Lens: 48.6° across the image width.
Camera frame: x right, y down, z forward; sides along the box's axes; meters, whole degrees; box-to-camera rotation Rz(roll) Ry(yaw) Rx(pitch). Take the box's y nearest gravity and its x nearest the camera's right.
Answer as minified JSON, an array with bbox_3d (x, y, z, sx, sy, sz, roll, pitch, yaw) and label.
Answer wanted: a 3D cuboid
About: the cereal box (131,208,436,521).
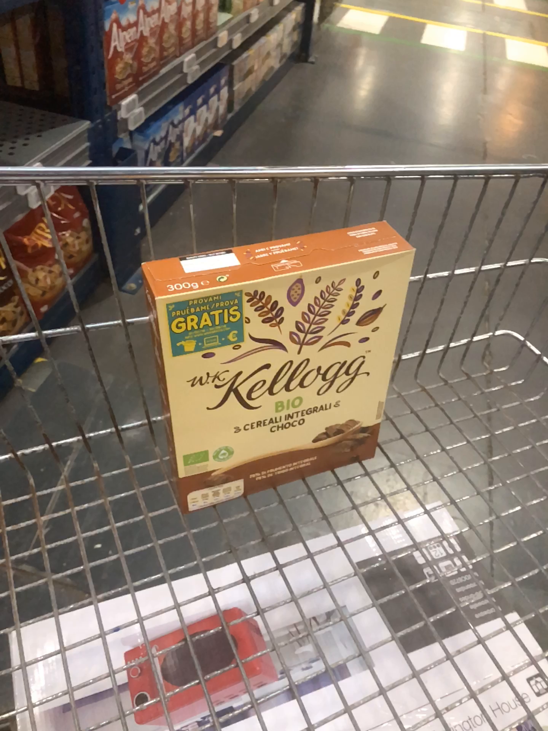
[{"bbox_3d":[0.006,0.004,0.485,0.200,0.219,0.060,-14,43,-18],"label":"cereal box"}]
